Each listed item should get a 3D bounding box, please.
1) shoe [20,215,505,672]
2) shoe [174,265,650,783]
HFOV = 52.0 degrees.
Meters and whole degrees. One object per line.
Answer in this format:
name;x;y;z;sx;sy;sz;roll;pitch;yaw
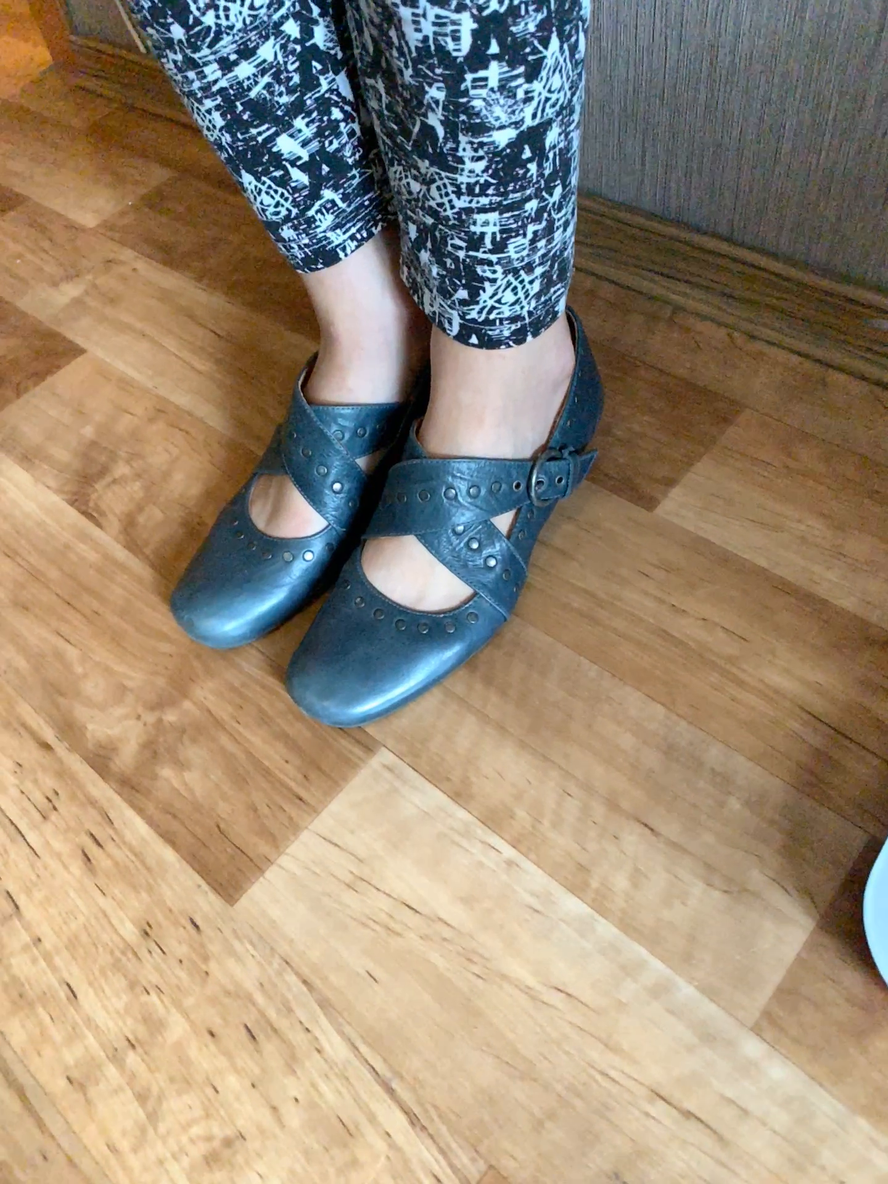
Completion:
shoe;-0.080;-0.088;0.493;0.090;0.100;0.240;32;63;28
shoe;0.000;-0.044;0.462;0.090;0.100;0.250;27;61;26
